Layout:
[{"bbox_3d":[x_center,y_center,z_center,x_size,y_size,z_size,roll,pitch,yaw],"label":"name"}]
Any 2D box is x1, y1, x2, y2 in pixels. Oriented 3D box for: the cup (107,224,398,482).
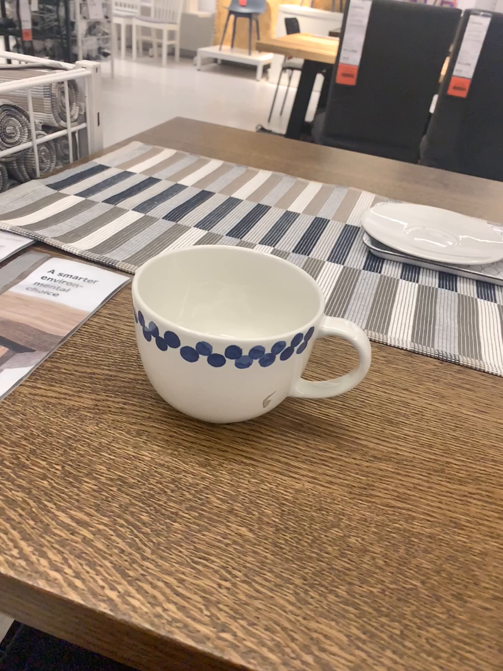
[{"bbox_3d":[0.004,0.001,0.292,0.130,0.070,0.100,16,34,11],"label":"cup"}]
